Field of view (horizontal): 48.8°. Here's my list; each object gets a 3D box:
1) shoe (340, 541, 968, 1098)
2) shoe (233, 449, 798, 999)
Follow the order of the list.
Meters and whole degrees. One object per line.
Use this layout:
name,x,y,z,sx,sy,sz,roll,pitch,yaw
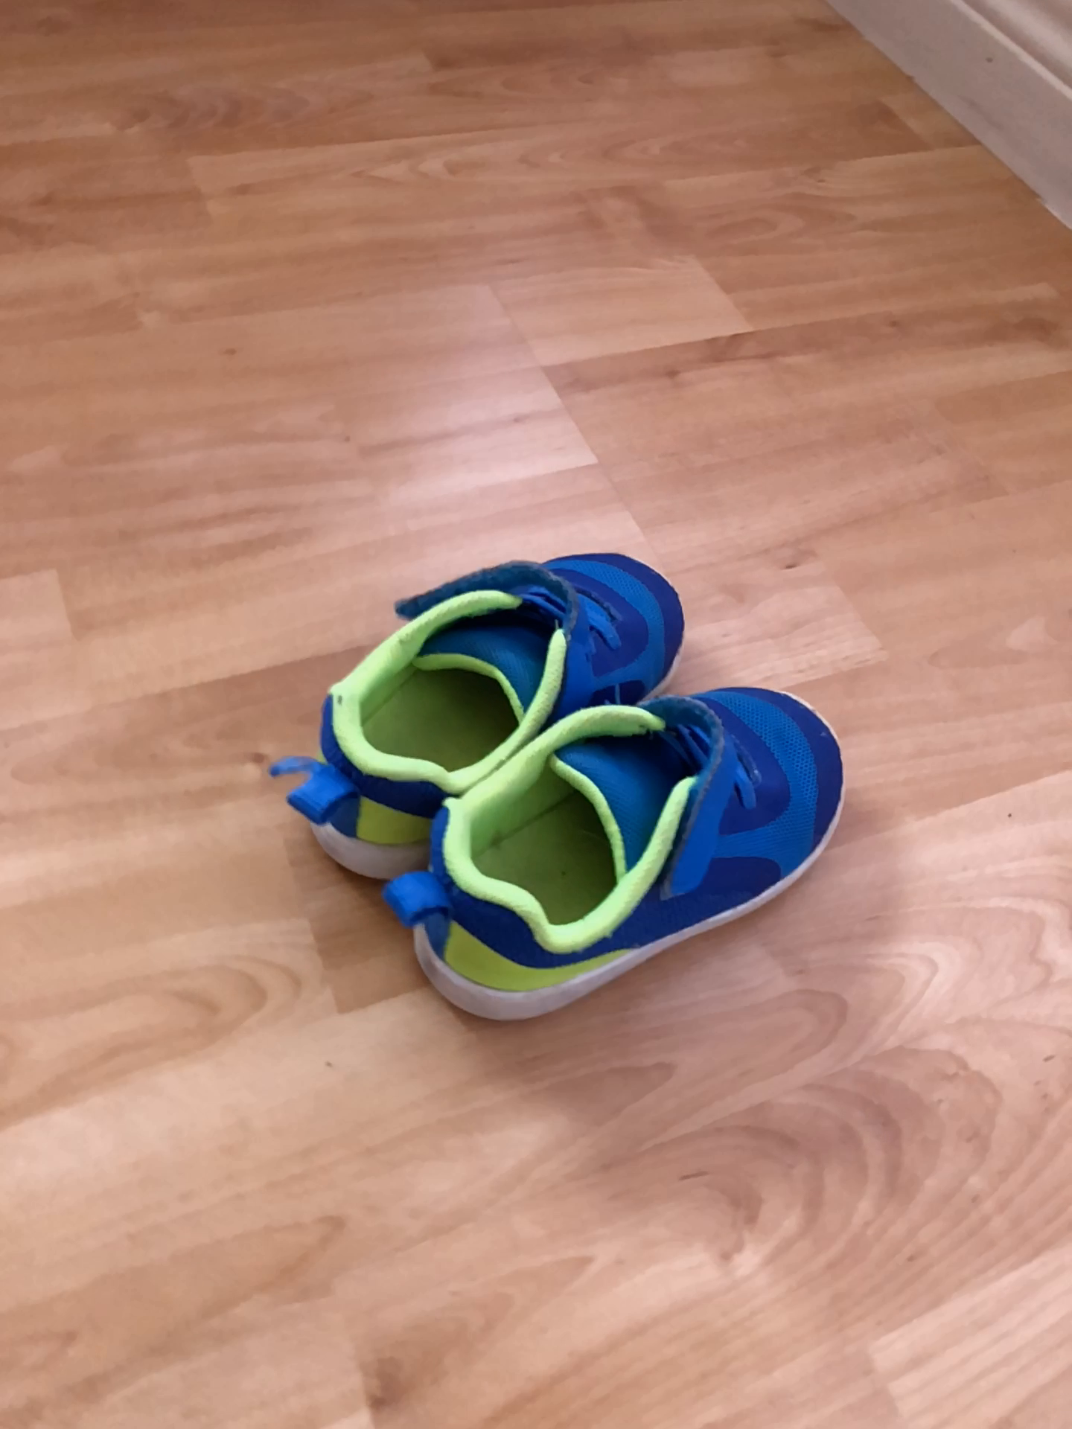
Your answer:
shoe,0.032,0.025,0.351,0.160,0.070,0.080,-26,62,-26
shoe,-0.004,-0.003,0.377,0.080,0.070,0.160,40,57,19
